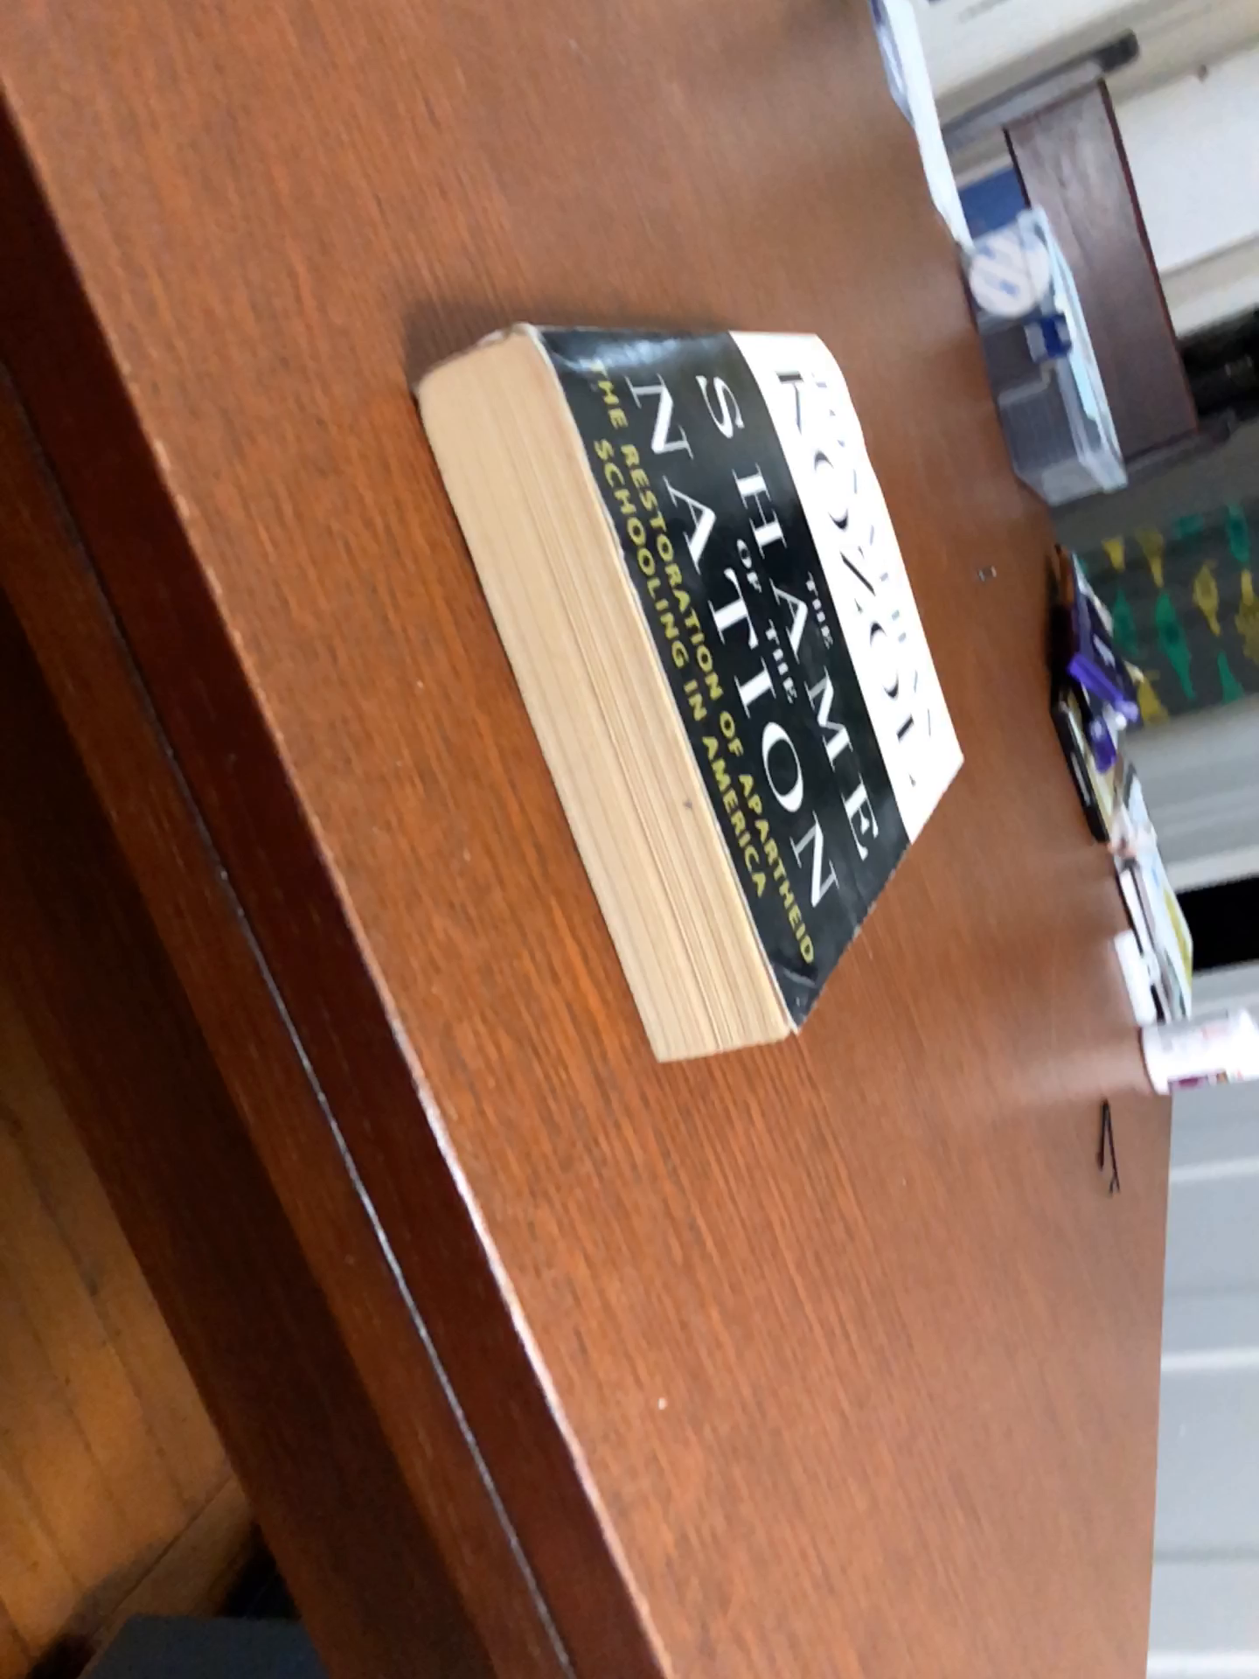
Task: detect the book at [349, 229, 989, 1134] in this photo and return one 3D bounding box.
[{"bbox_3d":[0.035,-0.055,0.347,0.231,0.030,0.160,-38,110,-62],"label":"book"}]
